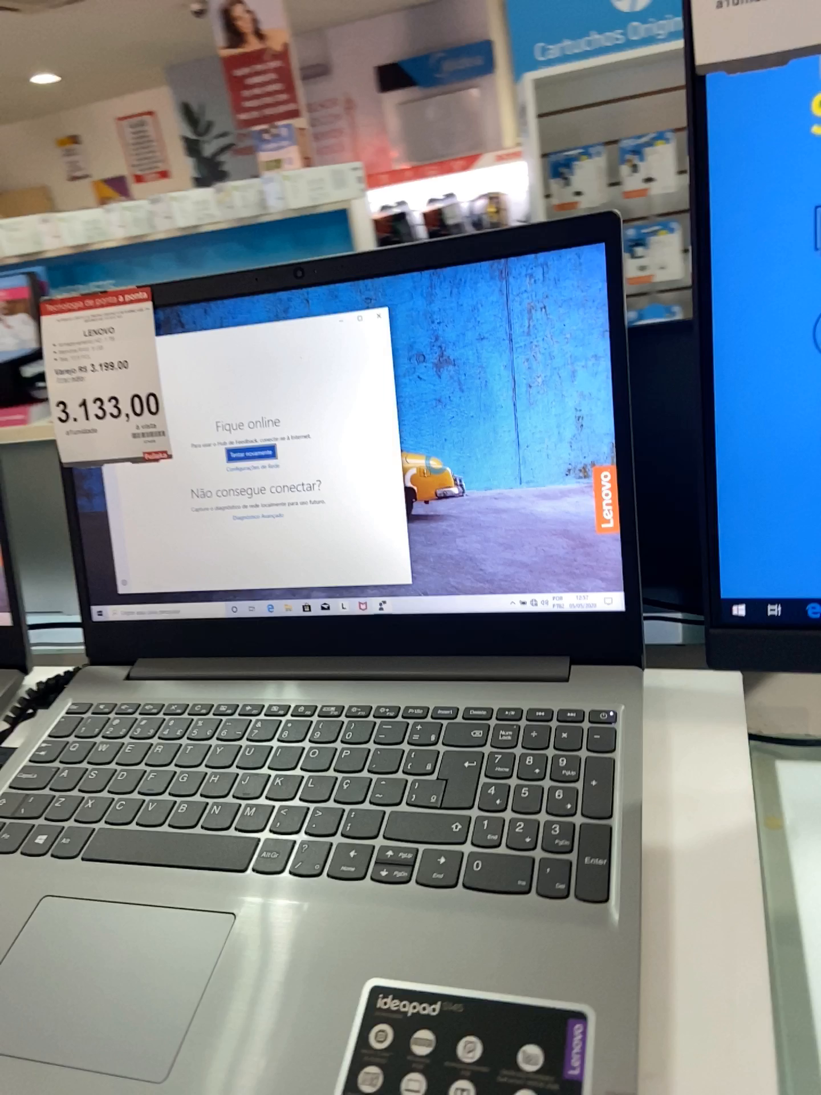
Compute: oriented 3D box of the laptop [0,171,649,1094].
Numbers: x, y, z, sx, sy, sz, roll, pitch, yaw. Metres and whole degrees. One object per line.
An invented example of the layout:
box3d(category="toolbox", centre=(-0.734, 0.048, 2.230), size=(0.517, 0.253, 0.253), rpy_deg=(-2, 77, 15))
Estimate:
box3d(category="laptop", centre=(-0.081, 0.008, 0.412), size=(0.362, 0.224, 0.361), rpy_deg=(-3, 30, 18))
